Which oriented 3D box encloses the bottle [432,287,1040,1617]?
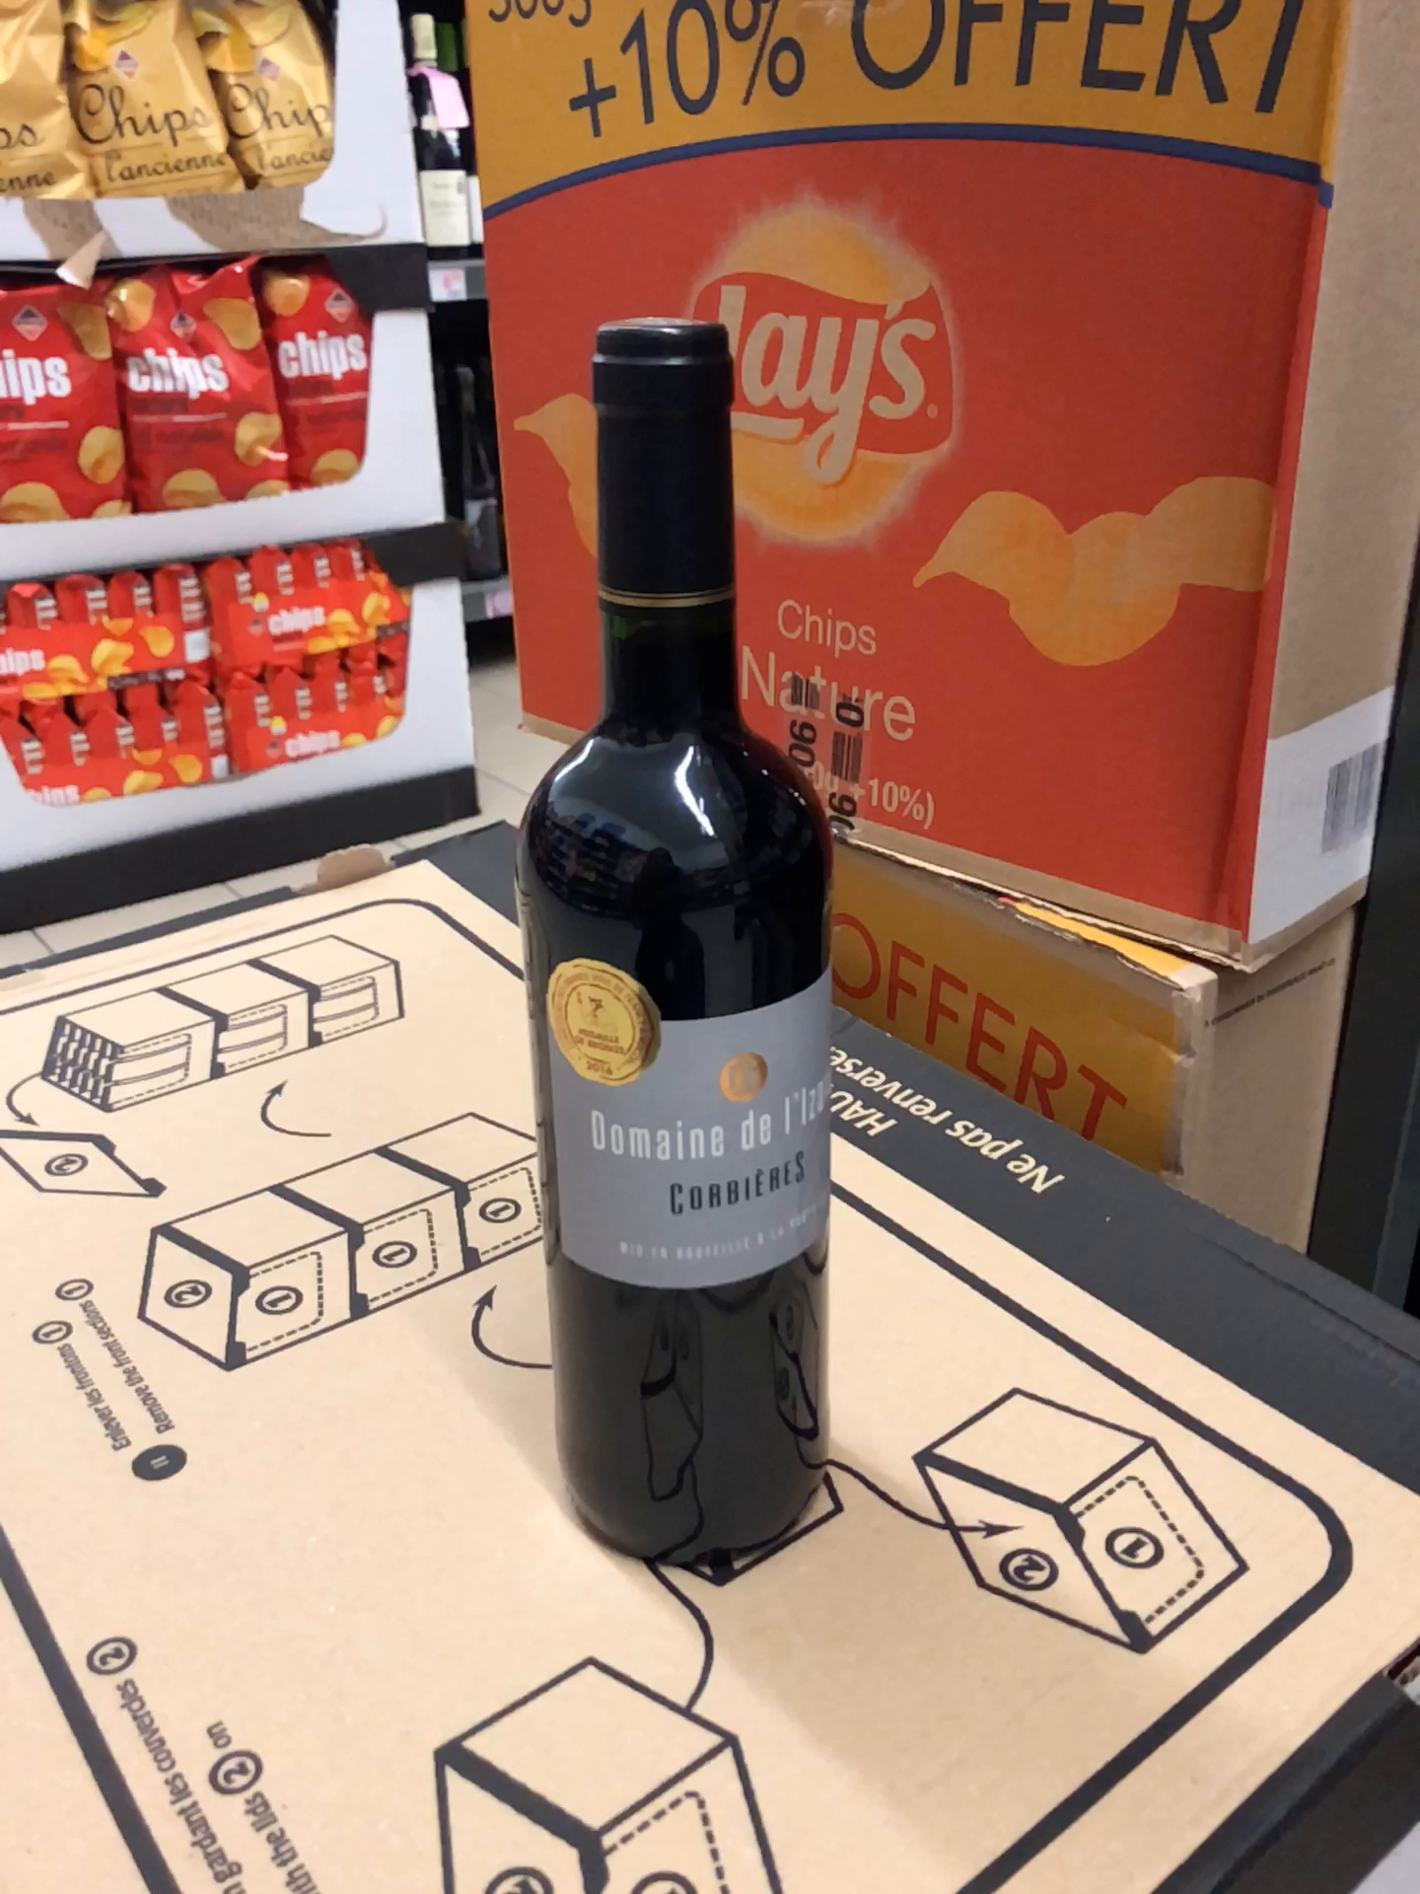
[{"bbox_3d":[0.003,0.004,0.356,0.090,0.278,0.090,-1,25,1],"label":"bottle"}]
